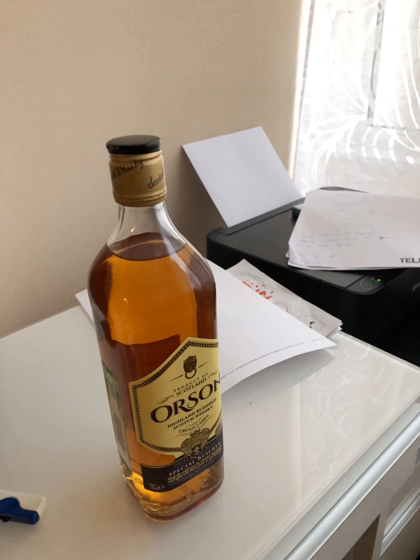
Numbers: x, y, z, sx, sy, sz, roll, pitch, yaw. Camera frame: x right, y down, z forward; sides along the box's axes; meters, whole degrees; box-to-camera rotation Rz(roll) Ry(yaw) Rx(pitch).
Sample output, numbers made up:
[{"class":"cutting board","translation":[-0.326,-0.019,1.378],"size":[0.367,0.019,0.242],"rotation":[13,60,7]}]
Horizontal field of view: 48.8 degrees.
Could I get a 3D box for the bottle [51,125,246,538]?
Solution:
[{"class":"bottle","translation":[-0.030,0.040,0.309],"size":[0.080,0.258,0.070],"rotation":[-19,31,-29]}]
